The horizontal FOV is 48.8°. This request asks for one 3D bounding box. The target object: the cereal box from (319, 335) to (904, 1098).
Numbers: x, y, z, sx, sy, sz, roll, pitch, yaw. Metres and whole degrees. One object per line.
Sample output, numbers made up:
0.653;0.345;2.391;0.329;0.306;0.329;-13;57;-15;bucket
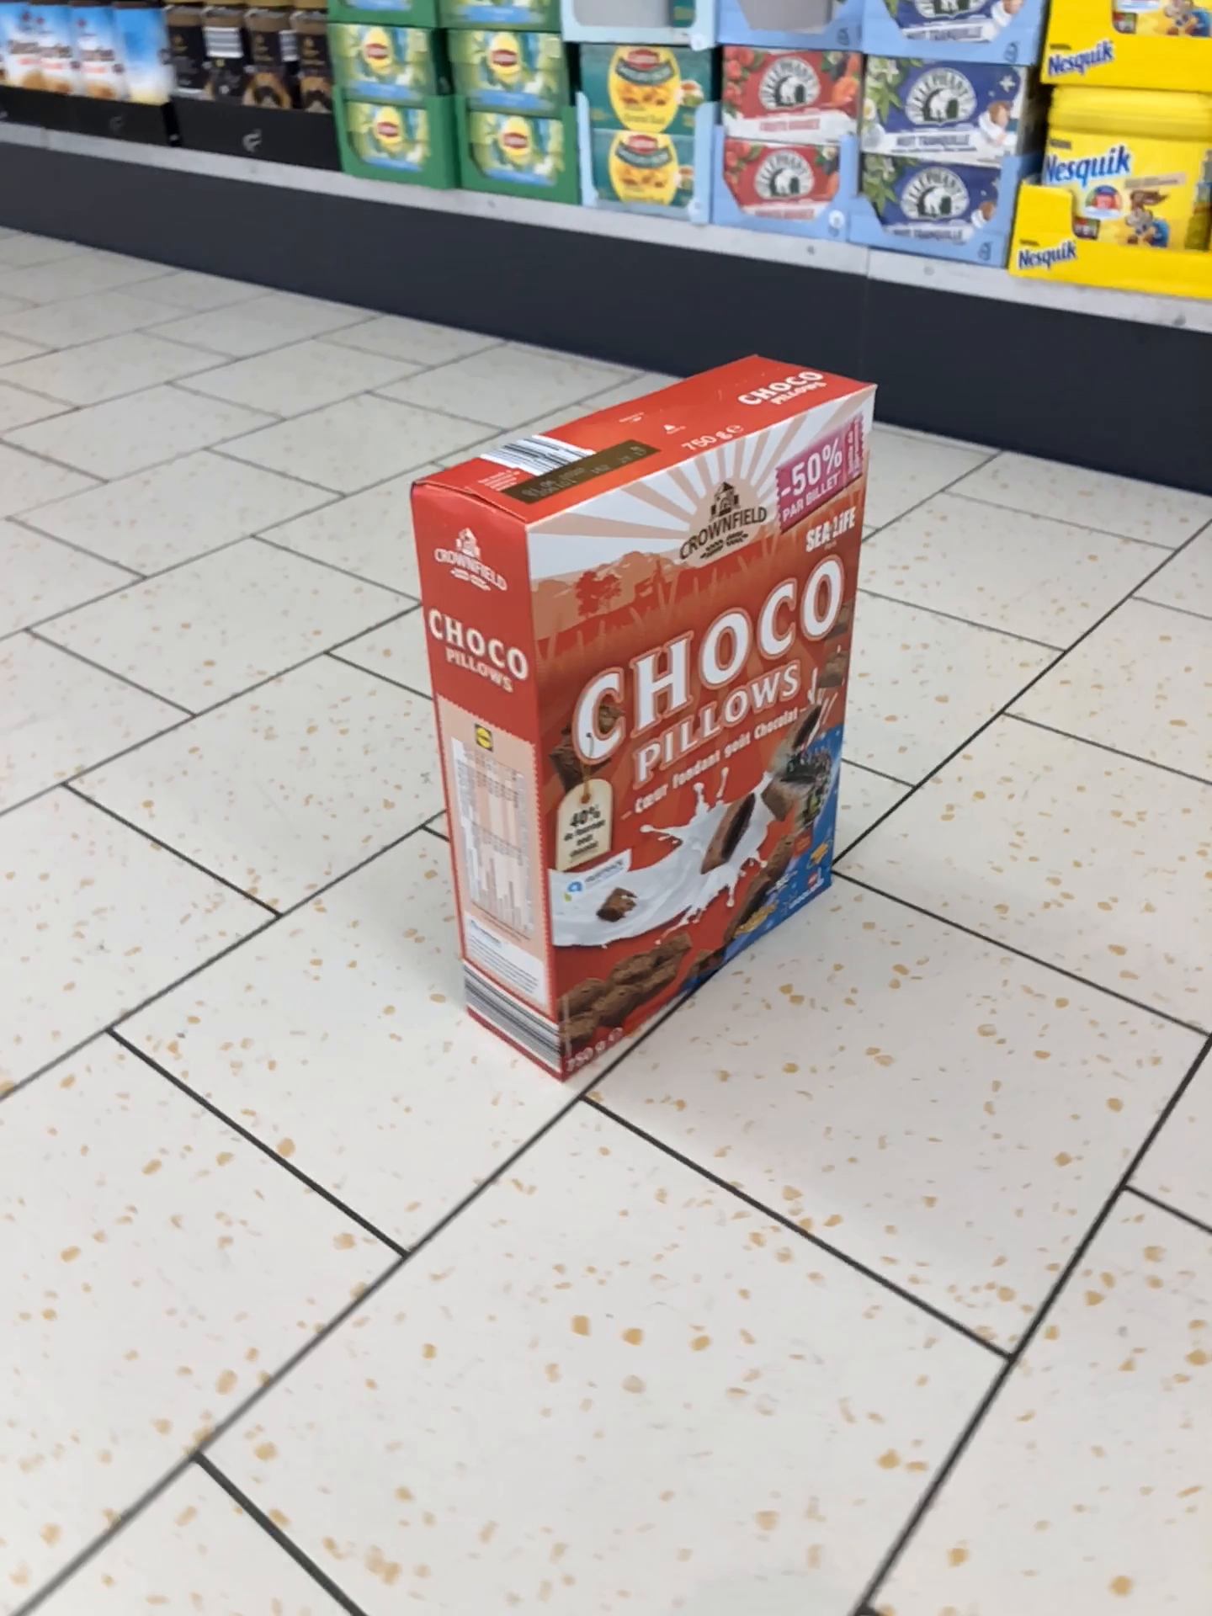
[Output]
0.013;-0.044;0.552;0.211;0.239;0.090;-30;43;-35;cereal box
